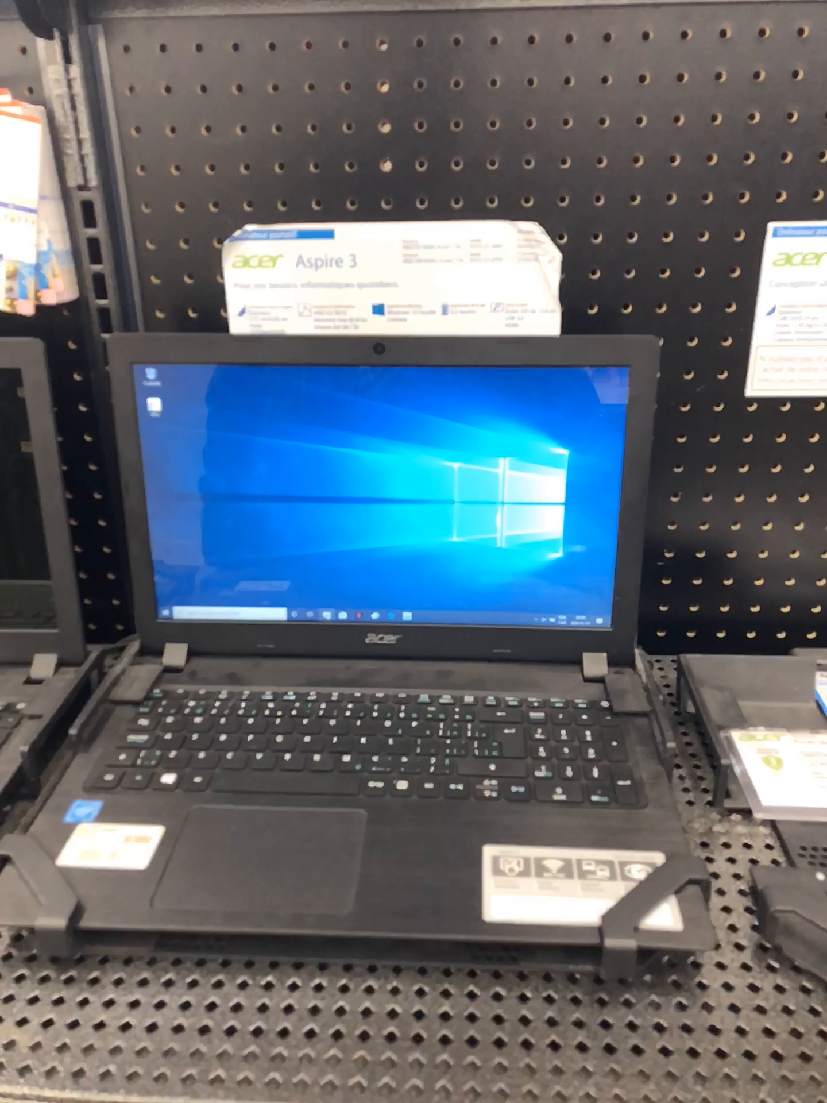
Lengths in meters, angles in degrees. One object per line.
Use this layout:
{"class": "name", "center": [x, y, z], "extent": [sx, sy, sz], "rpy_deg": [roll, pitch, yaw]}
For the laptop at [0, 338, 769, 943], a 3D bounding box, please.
{"class": "laptop", "center": [-0.036, 0.023, 0.557], "extent": [0.386, 0.247, 0.296], "rpy_deg": [1, 24, 4]}
